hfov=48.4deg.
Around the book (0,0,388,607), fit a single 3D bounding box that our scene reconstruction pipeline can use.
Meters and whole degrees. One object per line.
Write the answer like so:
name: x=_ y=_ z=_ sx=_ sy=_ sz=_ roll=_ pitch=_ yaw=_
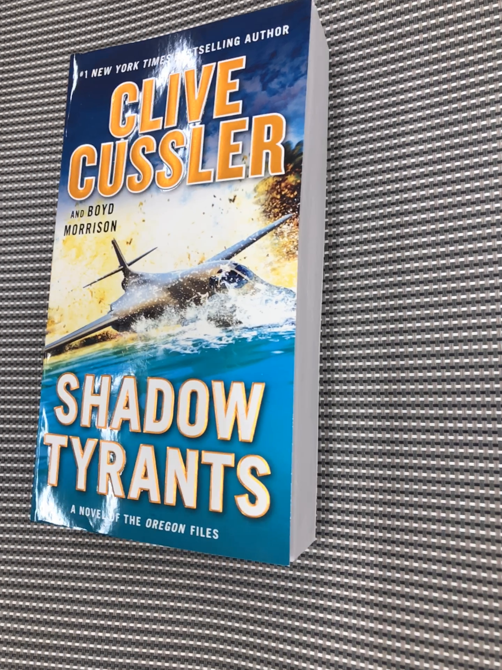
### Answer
book: x=-0.018 y=-0.014 z=0.212 sx=0.120 sy=0.060 sz=0.180 roll=2 pitch=84 yaw=22
